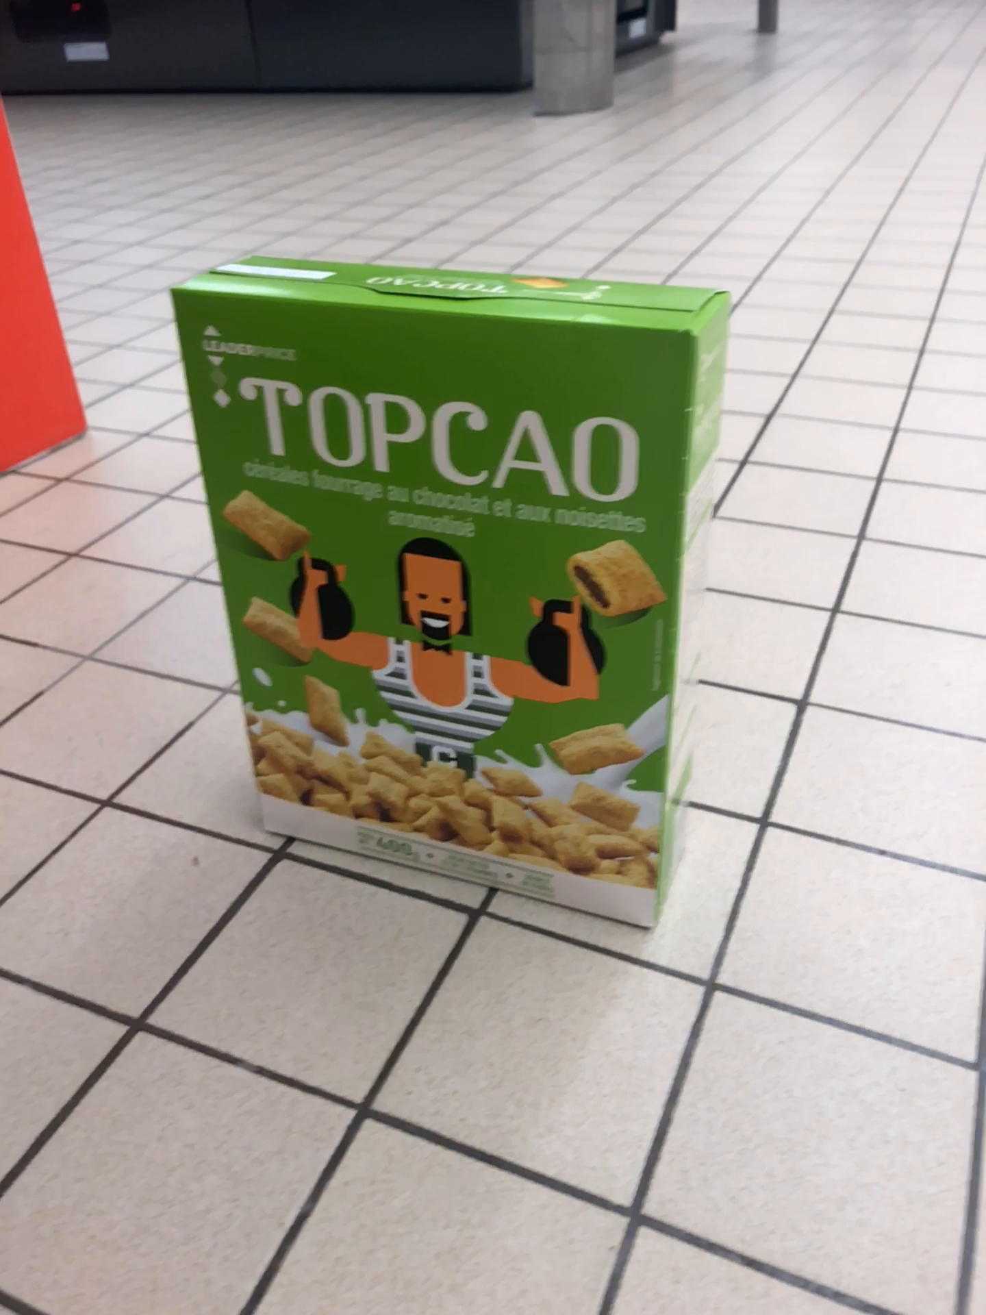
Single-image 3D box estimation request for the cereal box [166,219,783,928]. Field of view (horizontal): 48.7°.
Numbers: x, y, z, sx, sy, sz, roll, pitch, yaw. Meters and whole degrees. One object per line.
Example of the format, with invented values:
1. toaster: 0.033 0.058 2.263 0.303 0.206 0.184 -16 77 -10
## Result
1. cereal box: -0.008 -0.030 0.431 0.200 0.249 0.060 11 33 17
